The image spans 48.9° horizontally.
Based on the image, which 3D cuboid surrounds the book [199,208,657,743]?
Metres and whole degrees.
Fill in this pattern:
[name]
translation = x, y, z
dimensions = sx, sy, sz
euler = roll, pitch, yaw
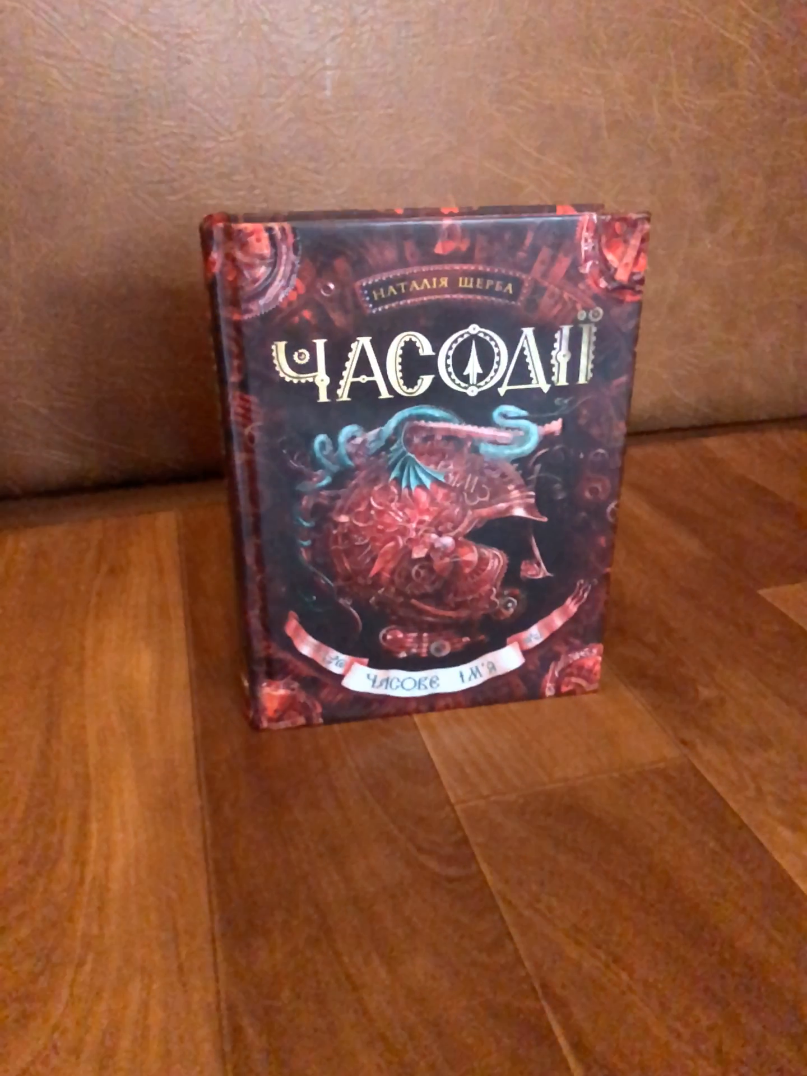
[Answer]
[book]
translation = 0.009, -0.023, 0.386
dimensions = 0.170, 0.220, 0.040
euler = -5, 26, -11
